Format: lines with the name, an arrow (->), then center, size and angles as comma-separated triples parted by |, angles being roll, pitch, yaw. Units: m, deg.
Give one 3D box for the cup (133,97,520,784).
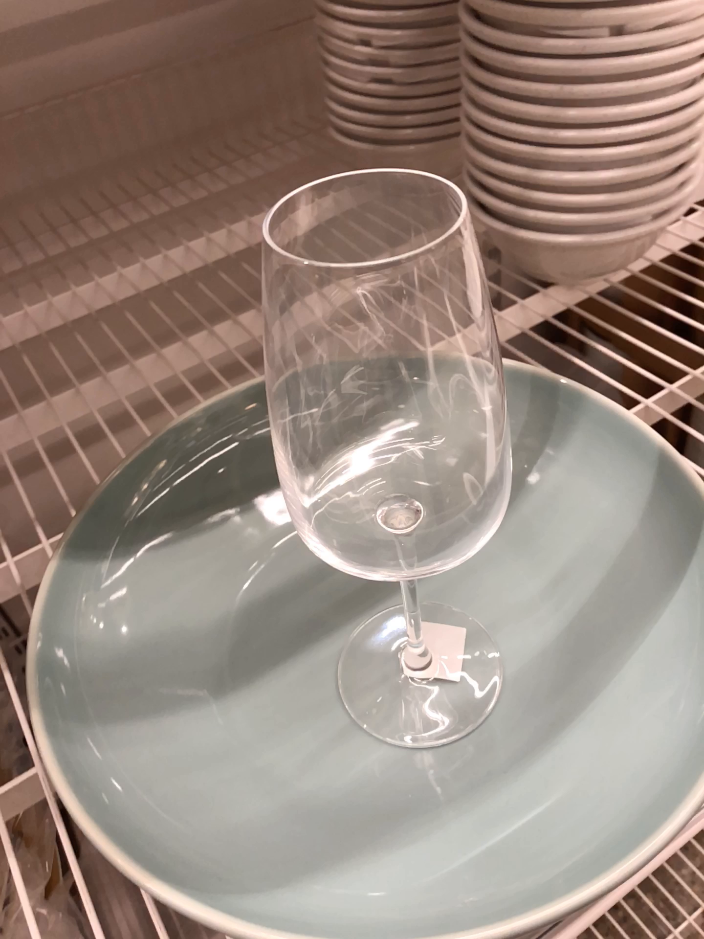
cup -> 0.010, 0.013, 0.331 | 0.100, 0.279, 0.100 | -6, 42, 5
